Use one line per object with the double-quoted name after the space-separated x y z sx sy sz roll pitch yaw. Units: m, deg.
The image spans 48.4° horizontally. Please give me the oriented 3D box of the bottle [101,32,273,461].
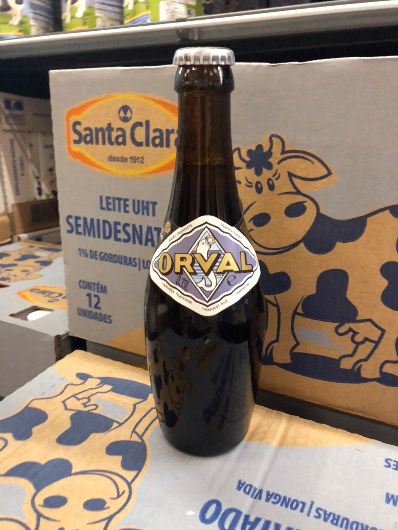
-0.006 -0.004 0.239 0.070 0.209 0.060 -1 17 -3 "bottle"
